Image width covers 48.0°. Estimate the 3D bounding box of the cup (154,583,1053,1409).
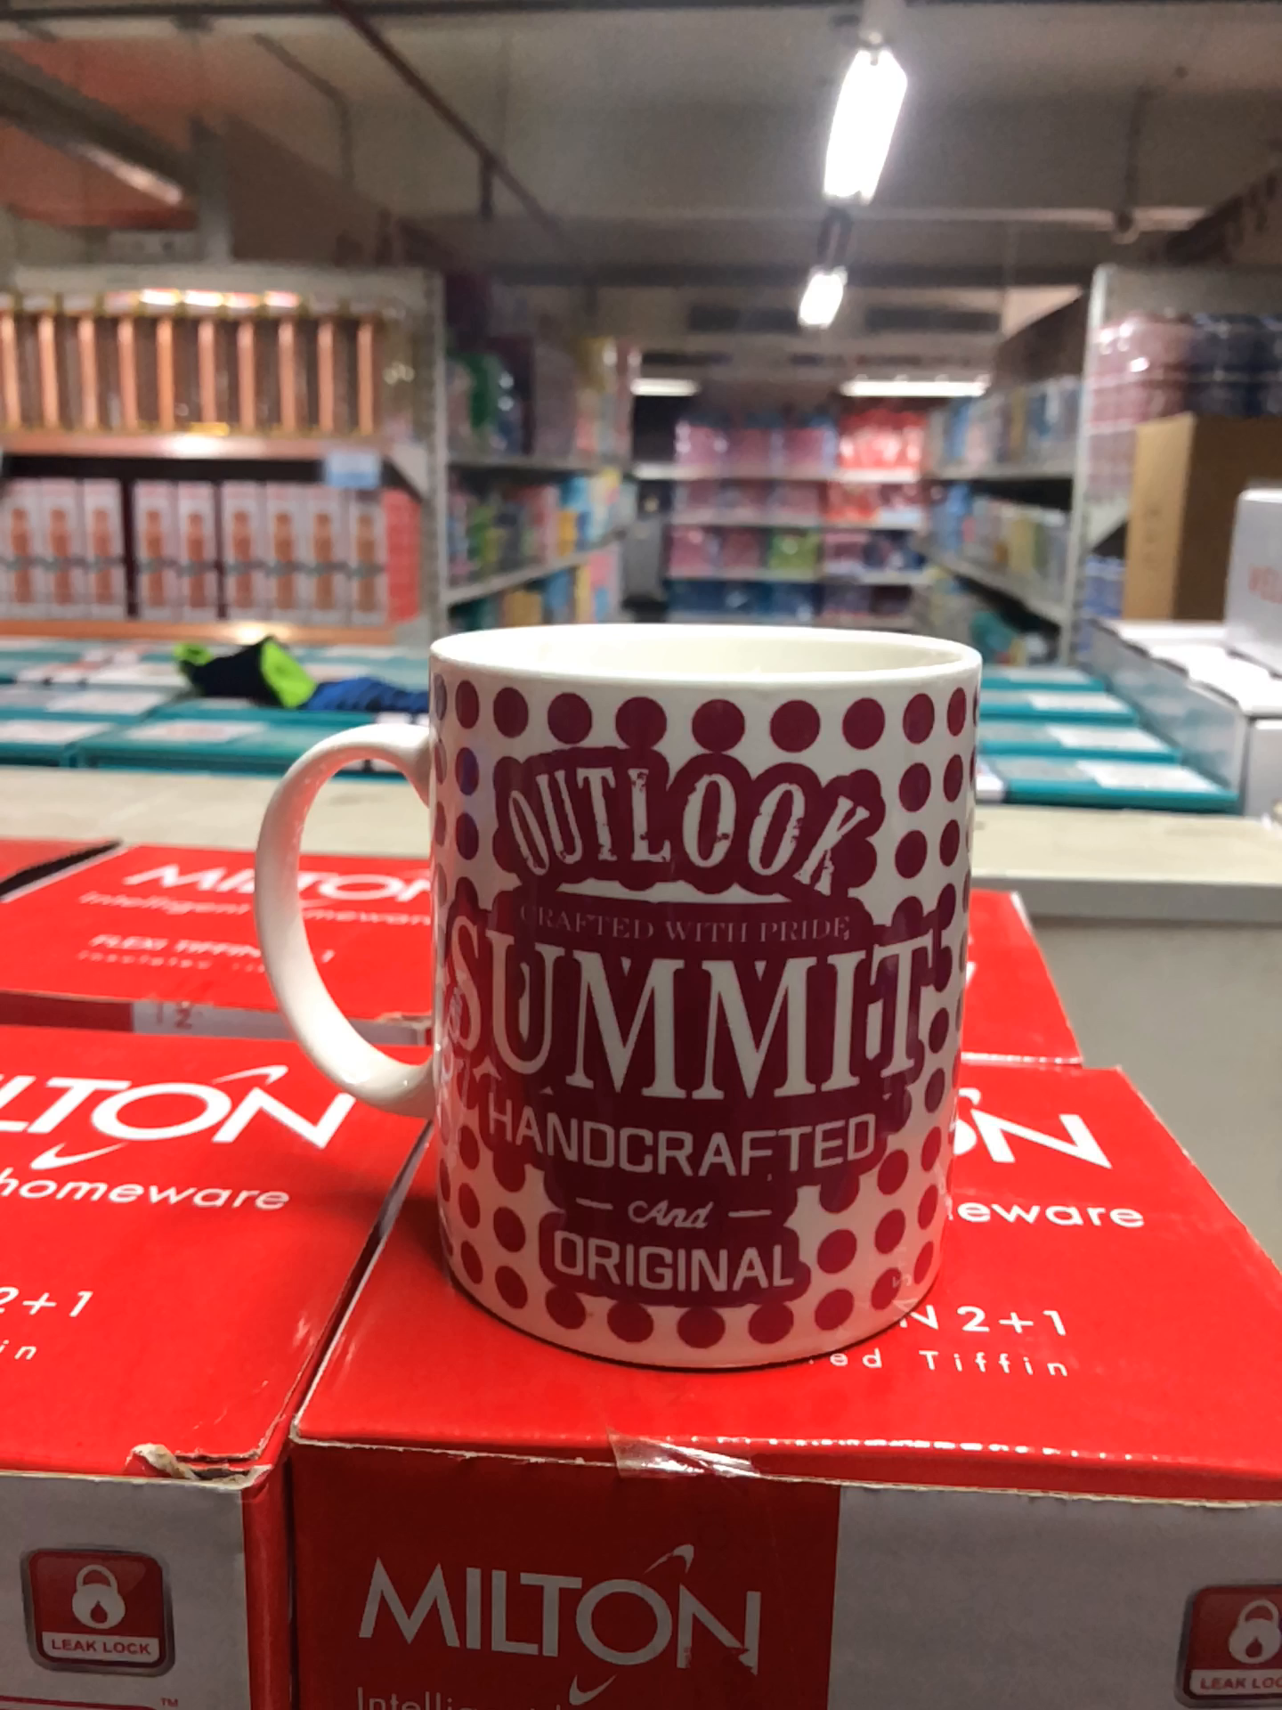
[{"bbox_3d":[-0.003,0.013,0.225,0.110,0.100,0.080,3,15,6],"label":"cup"}]
